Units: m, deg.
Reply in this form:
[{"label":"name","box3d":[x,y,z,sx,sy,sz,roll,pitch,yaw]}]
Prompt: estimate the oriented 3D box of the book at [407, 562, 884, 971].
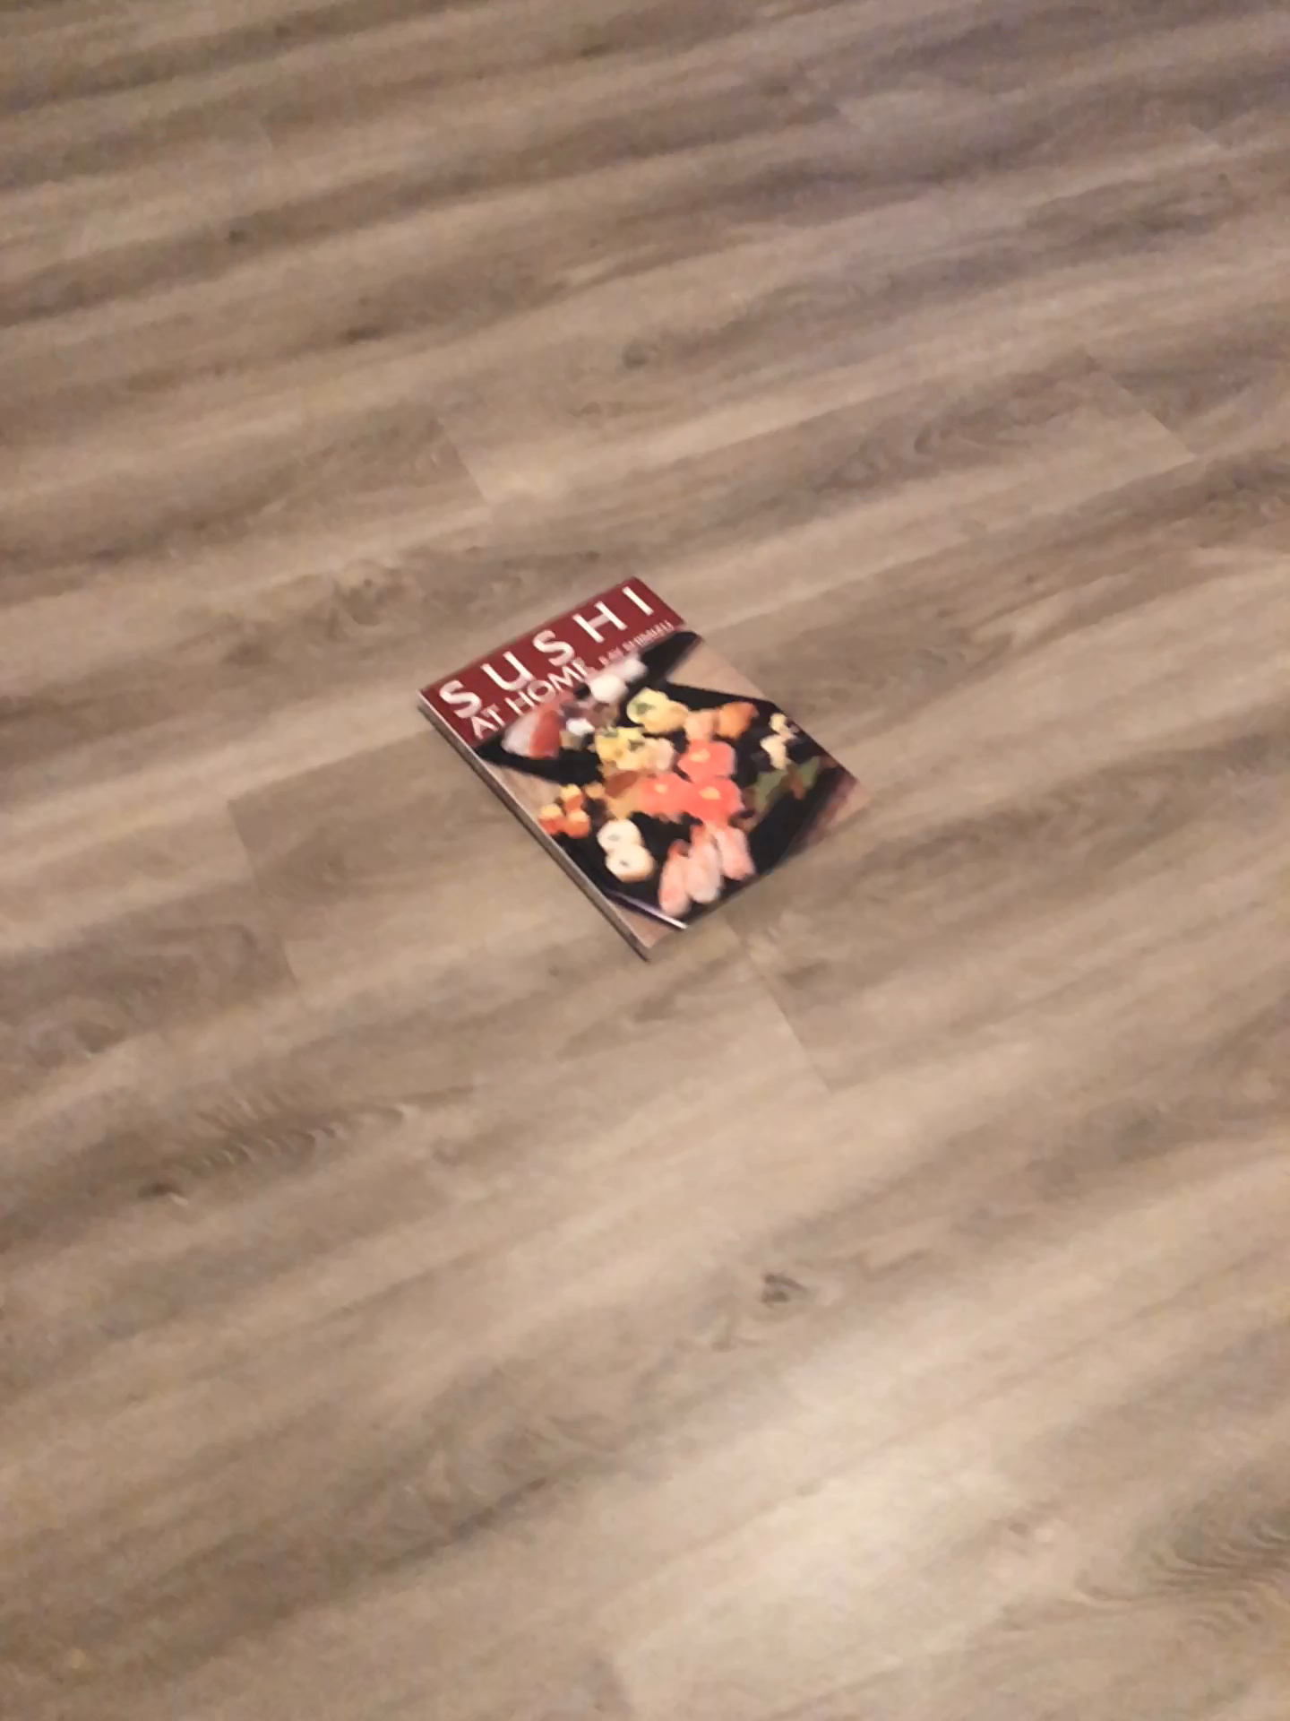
[{"label":"book","box3d":[-0.004,-0.073,0.933,0.190,0.030,0.258,-33,60,-20]}]
